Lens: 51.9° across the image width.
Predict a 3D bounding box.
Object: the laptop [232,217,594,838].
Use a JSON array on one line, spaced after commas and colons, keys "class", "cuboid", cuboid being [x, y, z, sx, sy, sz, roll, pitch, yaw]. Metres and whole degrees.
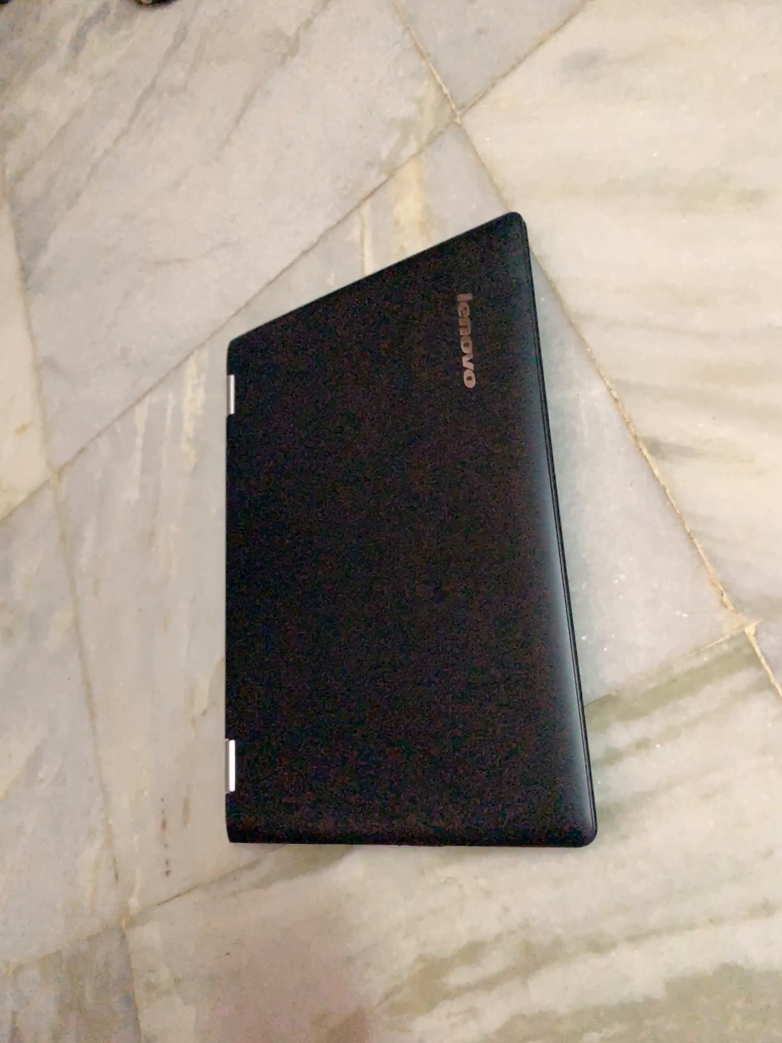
[{"class": "laptop", "cuboid": [-0.010, 0.009, 0.464, 0.225, 0.001, 0.325, -14, 71, 32]}]
